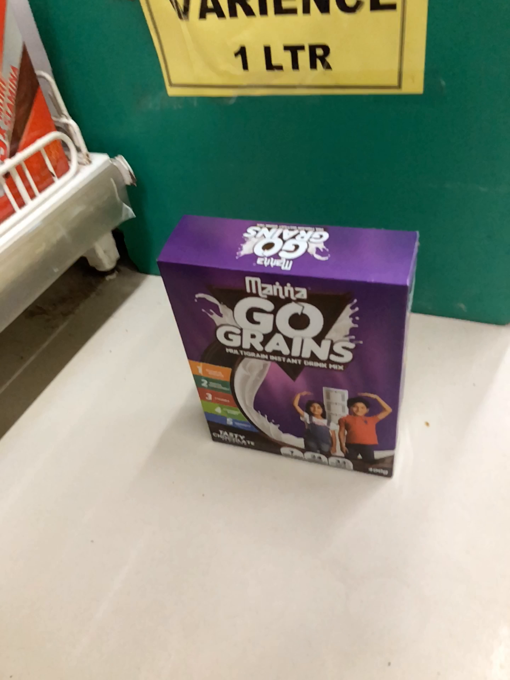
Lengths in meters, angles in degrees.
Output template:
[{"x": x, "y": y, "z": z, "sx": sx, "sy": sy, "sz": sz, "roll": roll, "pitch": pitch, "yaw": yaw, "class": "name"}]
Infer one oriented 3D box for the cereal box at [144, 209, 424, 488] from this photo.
[{"x": 0.026, "y": 0.012, "z": 0.381, "sx": 0.150, "sy": 0.189, "sz": 0.050, "roll": 8, "pitch": 46, "yaw": 17, "class": "cereal box"}]
